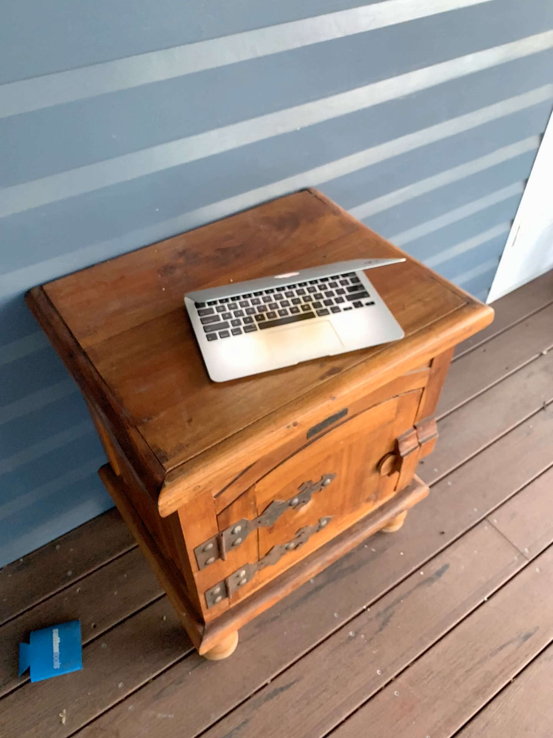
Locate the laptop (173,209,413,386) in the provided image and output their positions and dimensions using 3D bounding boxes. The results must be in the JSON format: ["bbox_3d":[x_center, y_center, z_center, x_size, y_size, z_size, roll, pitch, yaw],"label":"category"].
[{"bbox_3d":[0.017,-0.110,0.808,0.282,0.099,0.180,-14,49,-12],"label":"laptop"}]
